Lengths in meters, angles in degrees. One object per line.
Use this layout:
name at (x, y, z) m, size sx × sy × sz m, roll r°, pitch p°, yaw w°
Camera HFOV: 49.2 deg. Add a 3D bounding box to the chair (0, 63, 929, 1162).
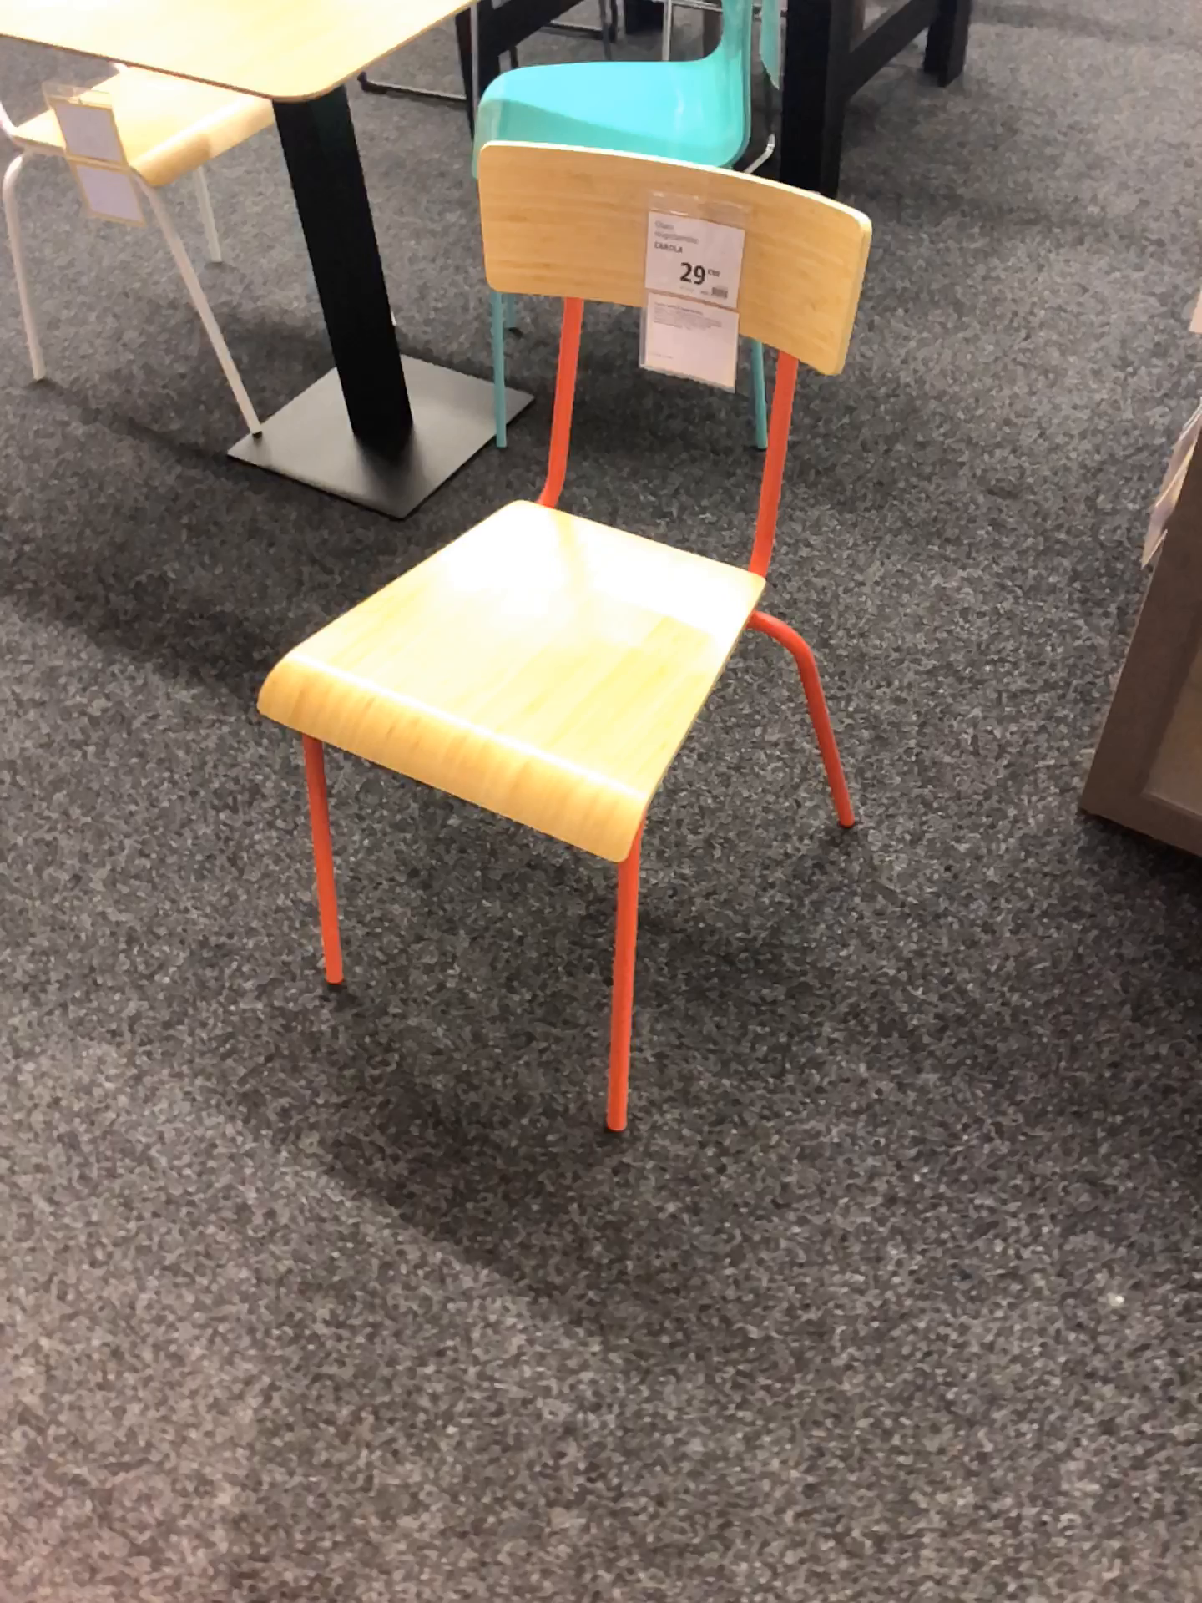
chair at (-0.066, -0.165, 1.320) m, size 0.500 × 0.816 × 0.563 m, roll 23°, pitch 54°, yaw 22°
